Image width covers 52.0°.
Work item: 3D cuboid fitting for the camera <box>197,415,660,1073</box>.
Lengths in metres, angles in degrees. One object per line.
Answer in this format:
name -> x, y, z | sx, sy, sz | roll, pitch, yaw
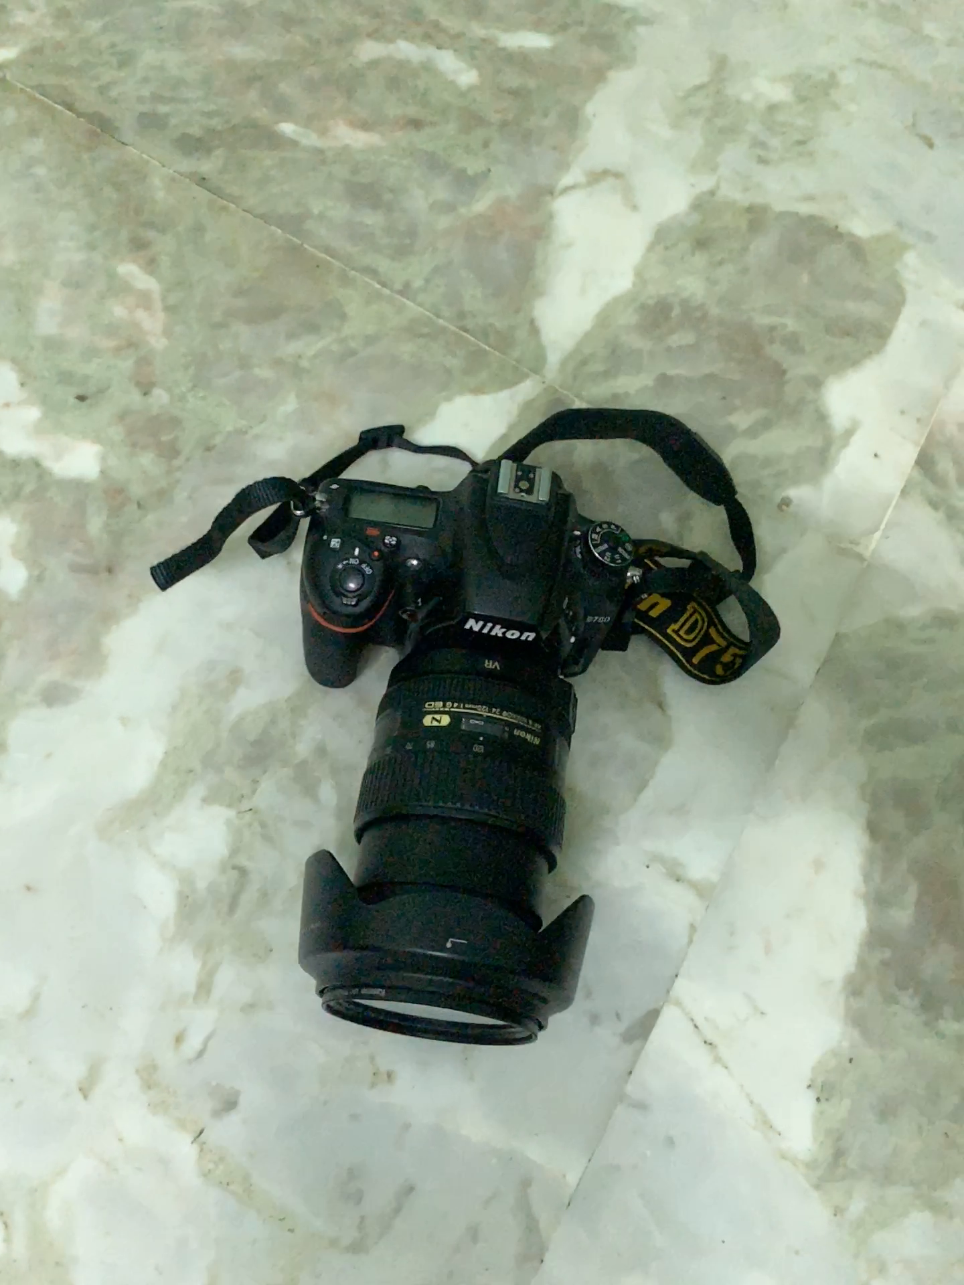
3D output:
camera -> -0.012, 0.038, 0.366 | 0.130, 0.090, 0.210 | 8, 65, -5
